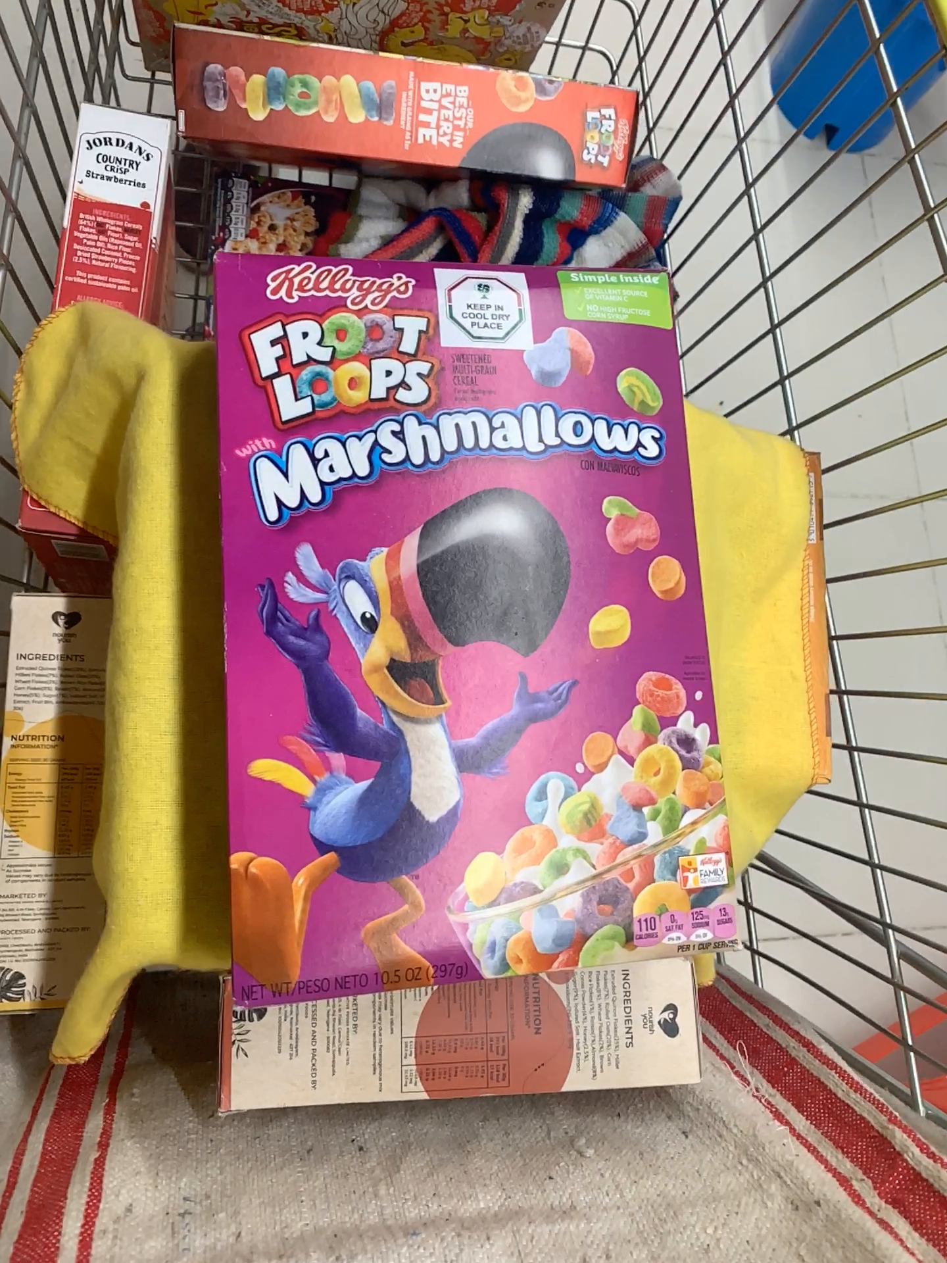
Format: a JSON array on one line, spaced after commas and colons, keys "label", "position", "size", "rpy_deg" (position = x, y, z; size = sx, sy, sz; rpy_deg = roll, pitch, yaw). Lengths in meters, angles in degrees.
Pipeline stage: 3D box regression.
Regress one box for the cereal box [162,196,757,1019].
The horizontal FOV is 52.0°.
[{"label": "cereal box", "position": [-0.013, -0.014, 0.366], "size": [0.190, 0.070, 0.270], "rpy_deg": [-2, 80, -13]}]
